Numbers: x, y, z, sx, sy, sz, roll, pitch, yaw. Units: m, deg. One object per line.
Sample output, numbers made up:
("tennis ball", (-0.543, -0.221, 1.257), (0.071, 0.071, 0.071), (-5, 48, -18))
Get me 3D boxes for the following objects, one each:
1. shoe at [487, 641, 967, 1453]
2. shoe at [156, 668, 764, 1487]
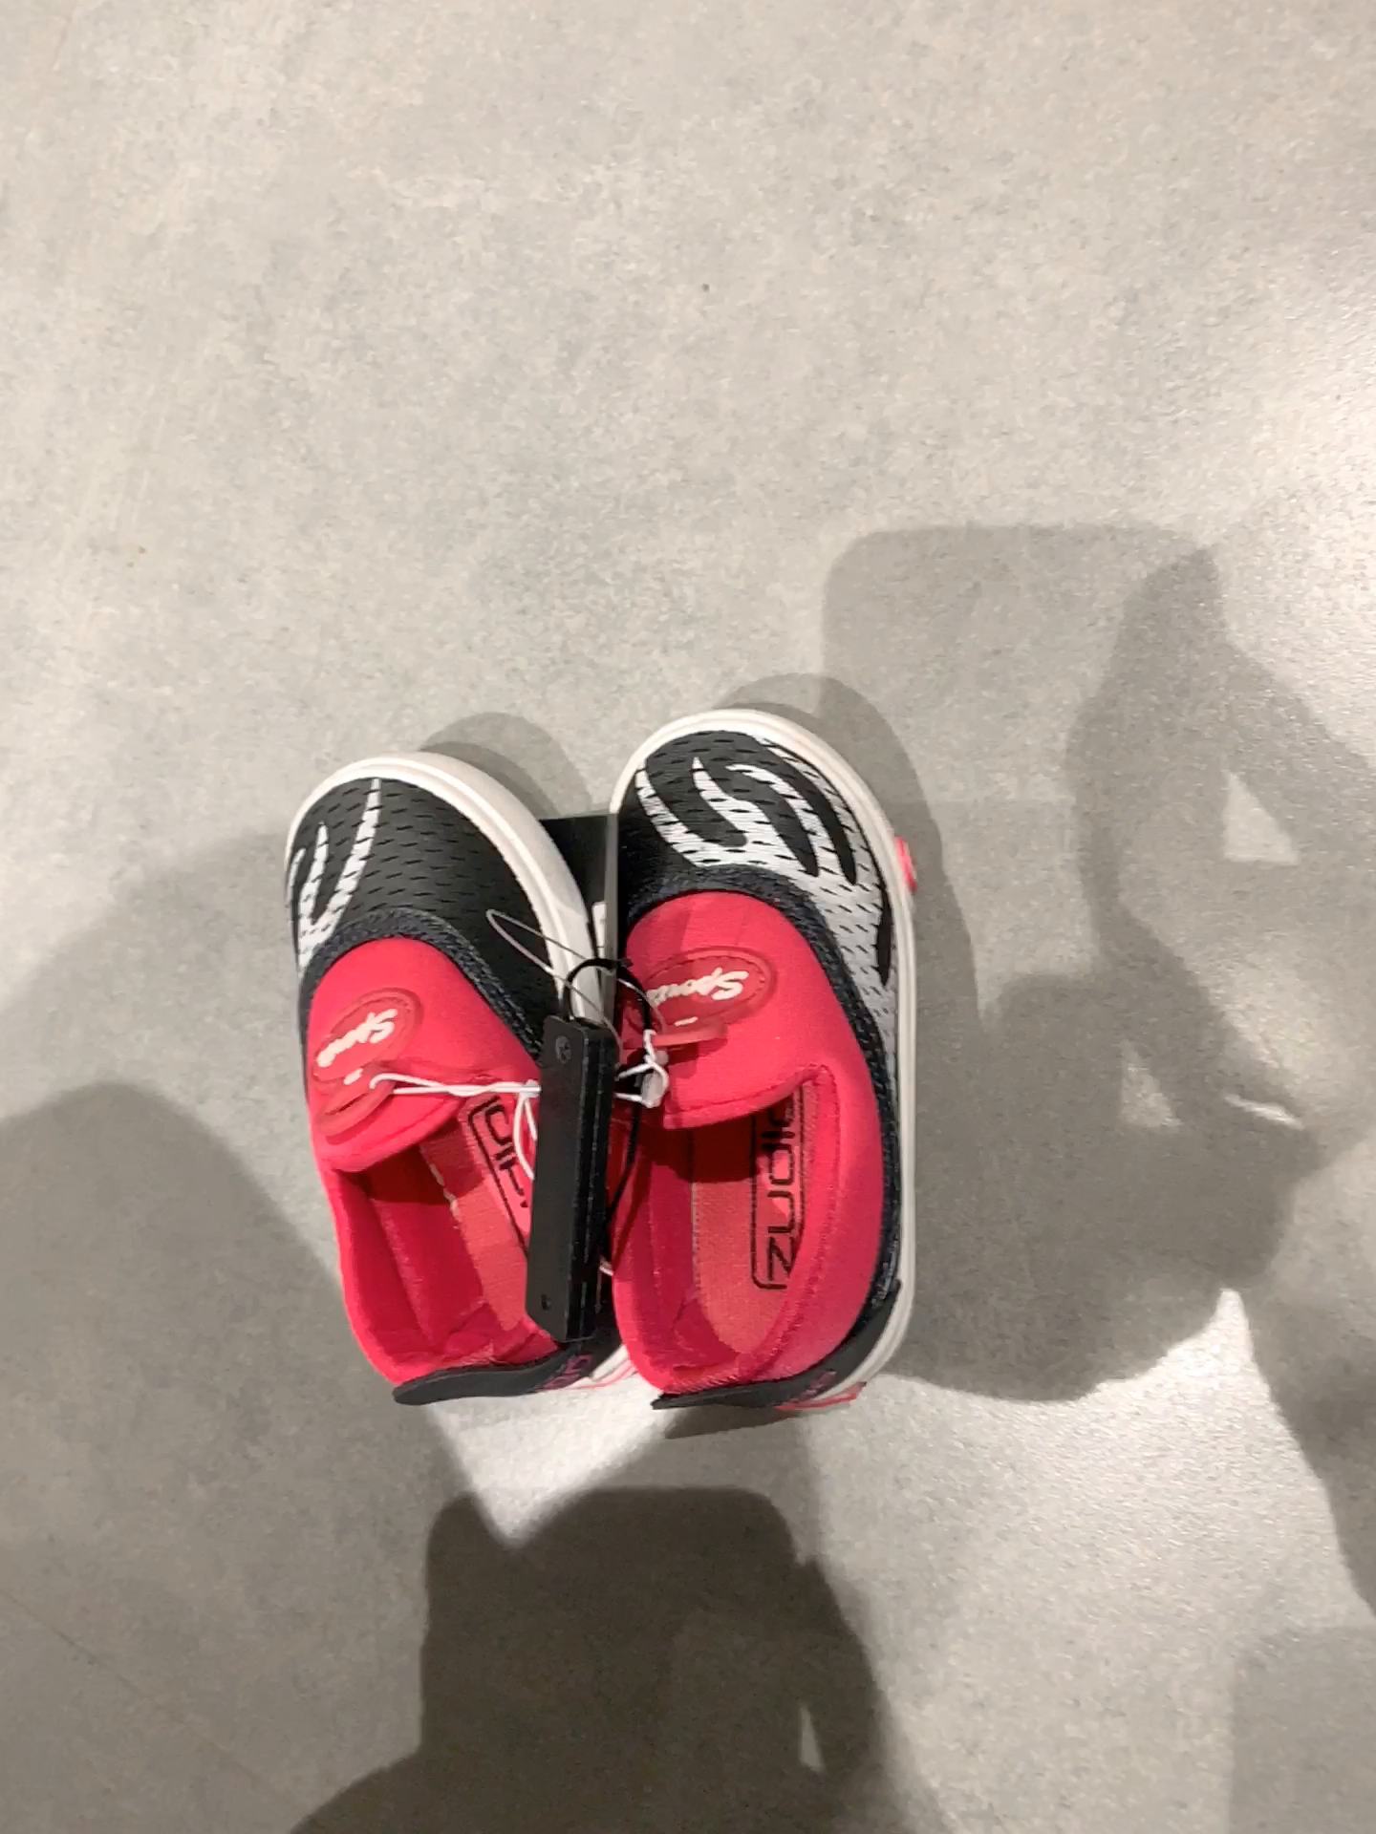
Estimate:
("shoe", (0.010, 0.026, 0.284), (0.070, 0.060, 0.140), (-6, 85, 18))
("shoe", (-0.045, 0.030, 0.294), (0.060, 0.060, 0.140), (-25, 80, 15))
